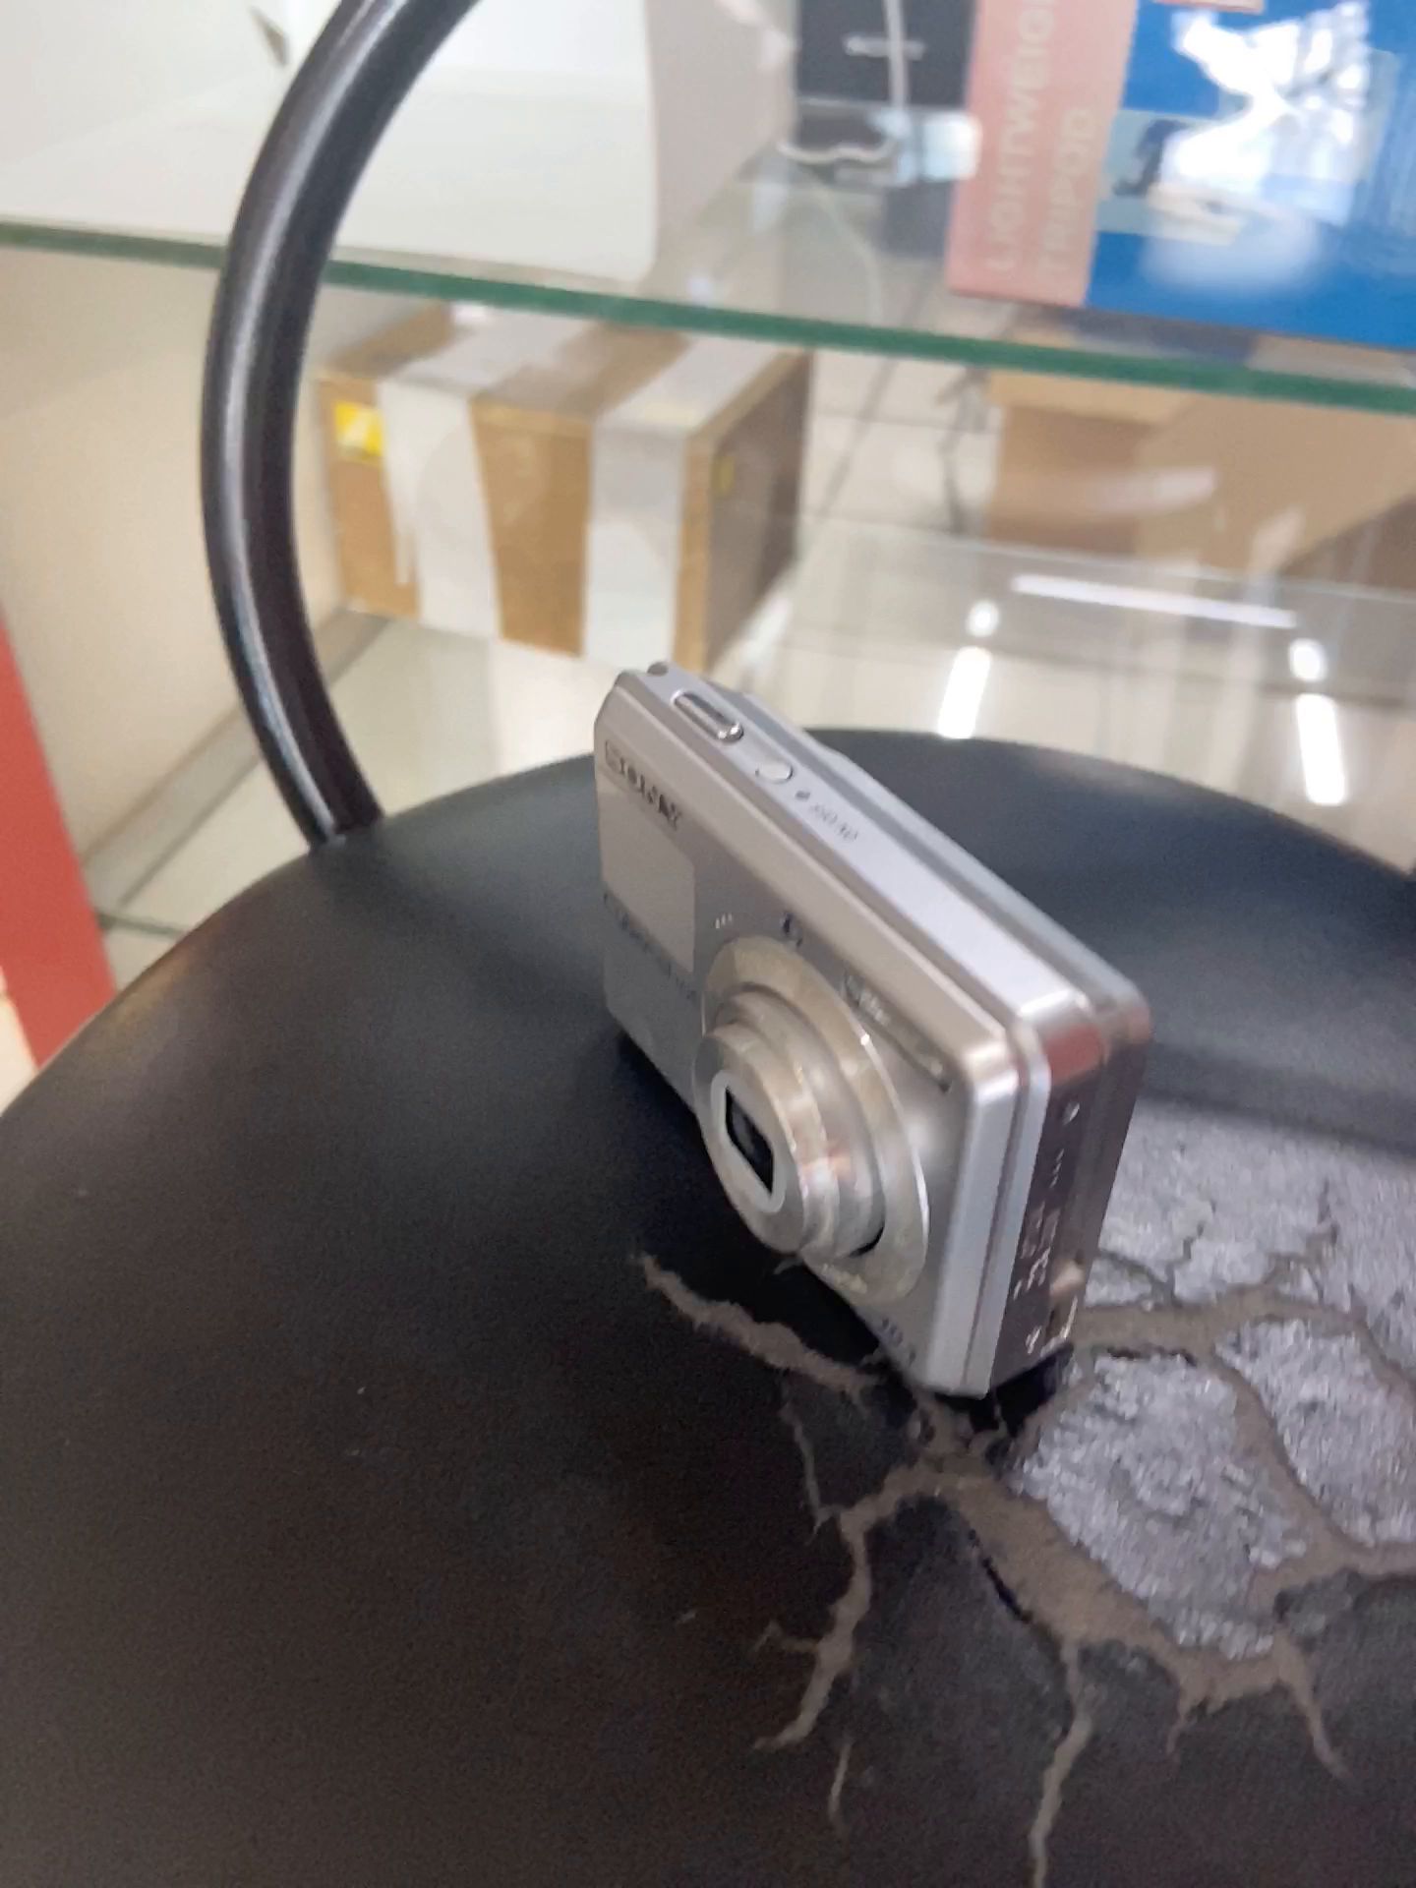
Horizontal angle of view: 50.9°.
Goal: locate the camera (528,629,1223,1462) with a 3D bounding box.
[{"bbox_3d":[0.013,0.008,0.184,0.035,0.057,0.083,-20,44,-25],"label":"camera"}]
